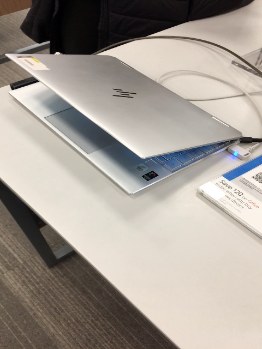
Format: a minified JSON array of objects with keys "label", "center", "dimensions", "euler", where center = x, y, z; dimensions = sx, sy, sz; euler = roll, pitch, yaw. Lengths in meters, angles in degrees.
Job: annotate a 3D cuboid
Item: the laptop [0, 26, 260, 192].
[{"label":"laptop","center":[-0.017,-0.116,0.517],"dimensions":[0.199,0.079,0.291],"euler":[-31,55,-24]}]
